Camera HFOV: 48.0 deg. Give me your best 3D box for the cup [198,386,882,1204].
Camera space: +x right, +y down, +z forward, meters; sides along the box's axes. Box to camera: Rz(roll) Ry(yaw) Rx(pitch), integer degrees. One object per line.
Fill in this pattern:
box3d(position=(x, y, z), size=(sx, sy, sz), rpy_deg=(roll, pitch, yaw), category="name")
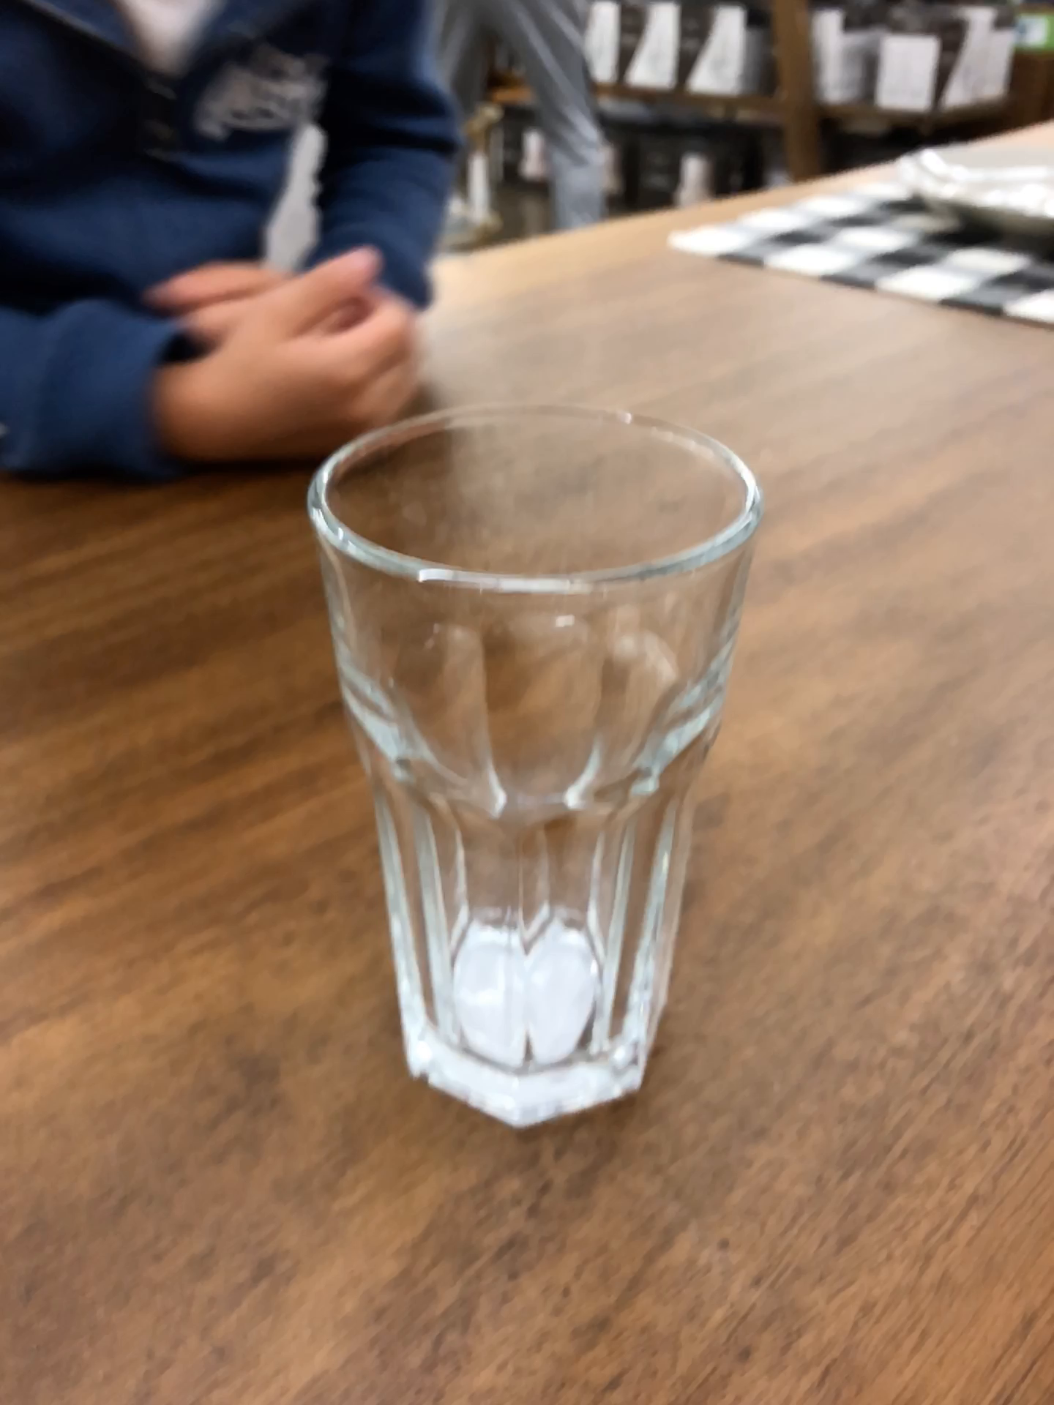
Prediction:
box3d(position=(0.000, 0.010, 0.197), size=(0.072, 0.095, 0.070), rpy_deg=(0, 33, 0), category="cup")
